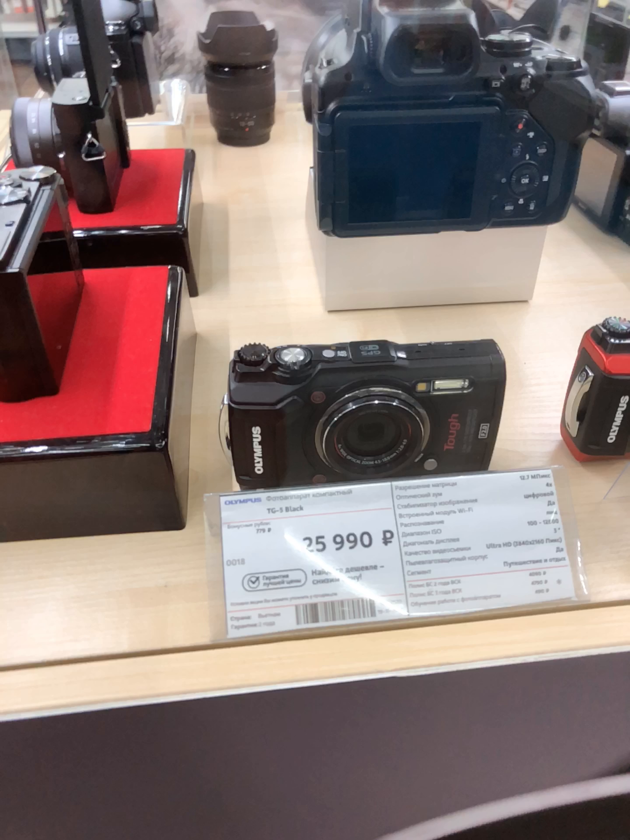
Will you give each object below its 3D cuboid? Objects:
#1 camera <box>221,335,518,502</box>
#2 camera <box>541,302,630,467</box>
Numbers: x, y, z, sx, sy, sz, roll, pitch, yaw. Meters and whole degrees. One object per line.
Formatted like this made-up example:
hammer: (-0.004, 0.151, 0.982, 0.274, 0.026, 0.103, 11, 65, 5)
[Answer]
camera: (0.021, 0.000, 0.301, 0.116, 0.060, 0.030, -3, 38, -4)
camera: (0.167, -0.015, 0.305, 0.116, 0.060, 0.030, -3, 38, -4)
